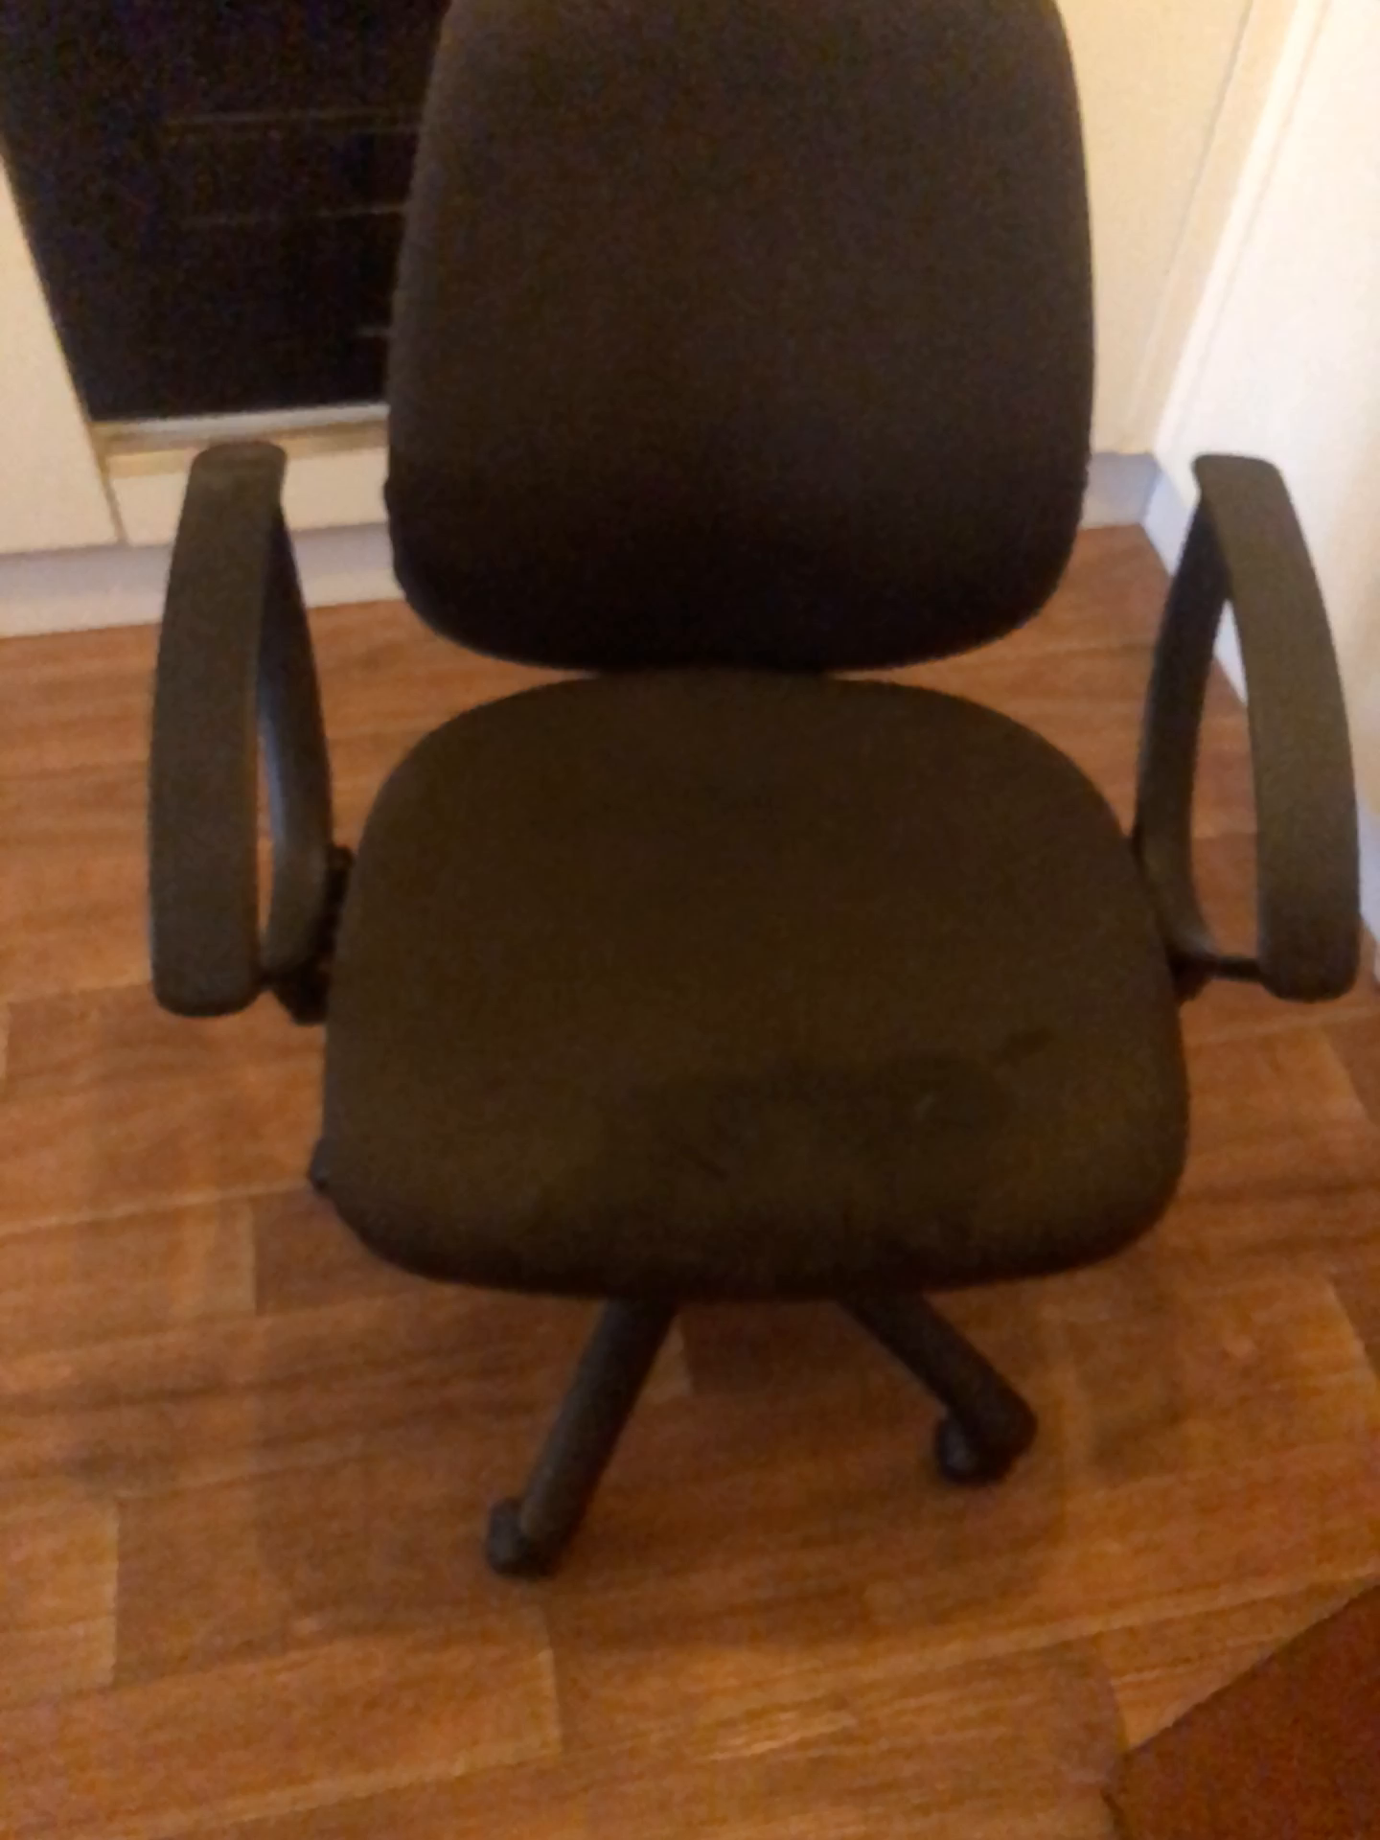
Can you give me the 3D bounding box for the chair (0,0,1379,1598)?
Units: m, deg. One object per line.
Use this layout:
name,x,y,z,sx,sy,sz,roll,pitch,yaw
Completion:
chair,0.036,-0.037,0.948,0.673,0.816,0.655,2,53,-2
